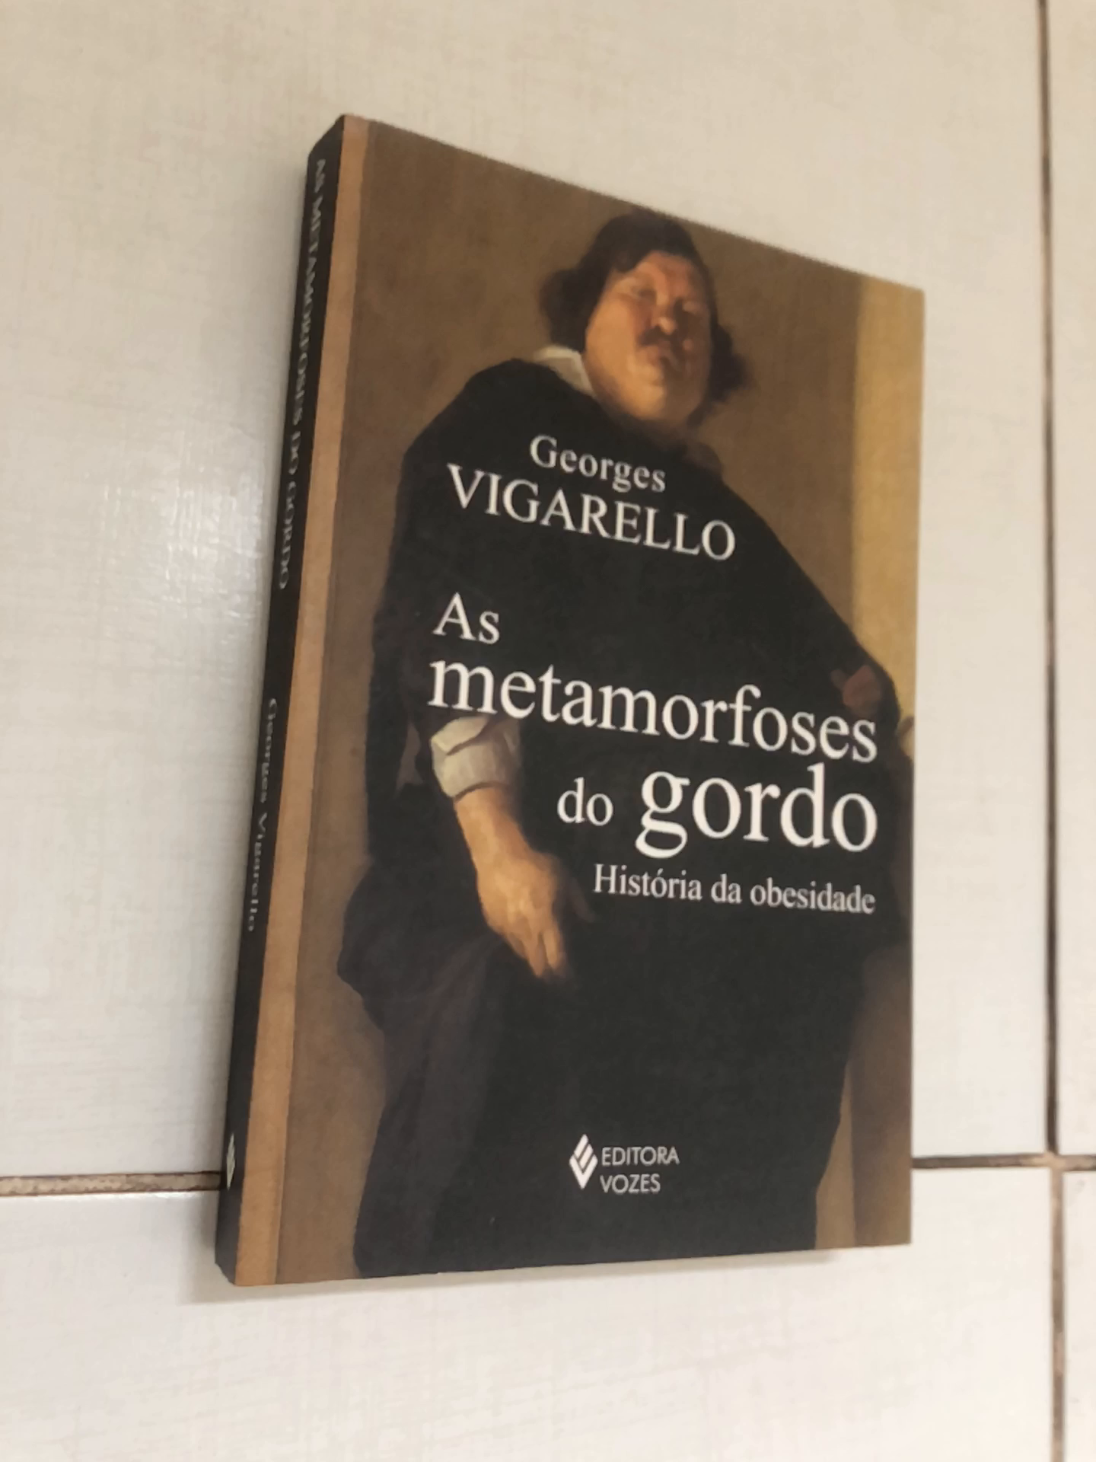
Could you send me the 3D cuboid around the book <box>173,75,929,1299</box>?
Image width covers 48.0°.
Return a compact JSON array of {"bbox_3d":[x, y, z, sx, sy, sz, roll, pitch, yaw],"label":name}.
[{"bbox_3d":[0.010,-0.006,0.238,0.137,0.023,0.204,6,81,-22],"label":"book"}]
